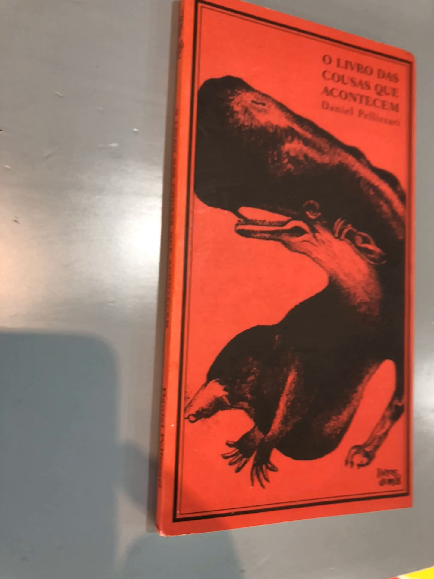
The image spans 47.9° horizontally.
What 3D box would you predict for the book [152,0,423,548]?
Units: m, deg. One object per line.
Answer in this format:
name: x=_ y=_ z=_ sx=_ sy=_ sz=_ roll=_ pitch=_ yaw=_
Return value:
book: x=0.034 y=-0.010 z=0.197 sx=0.110 sy=0.016 sz=0.200 roll=3 pitch=86 yaw=-21
